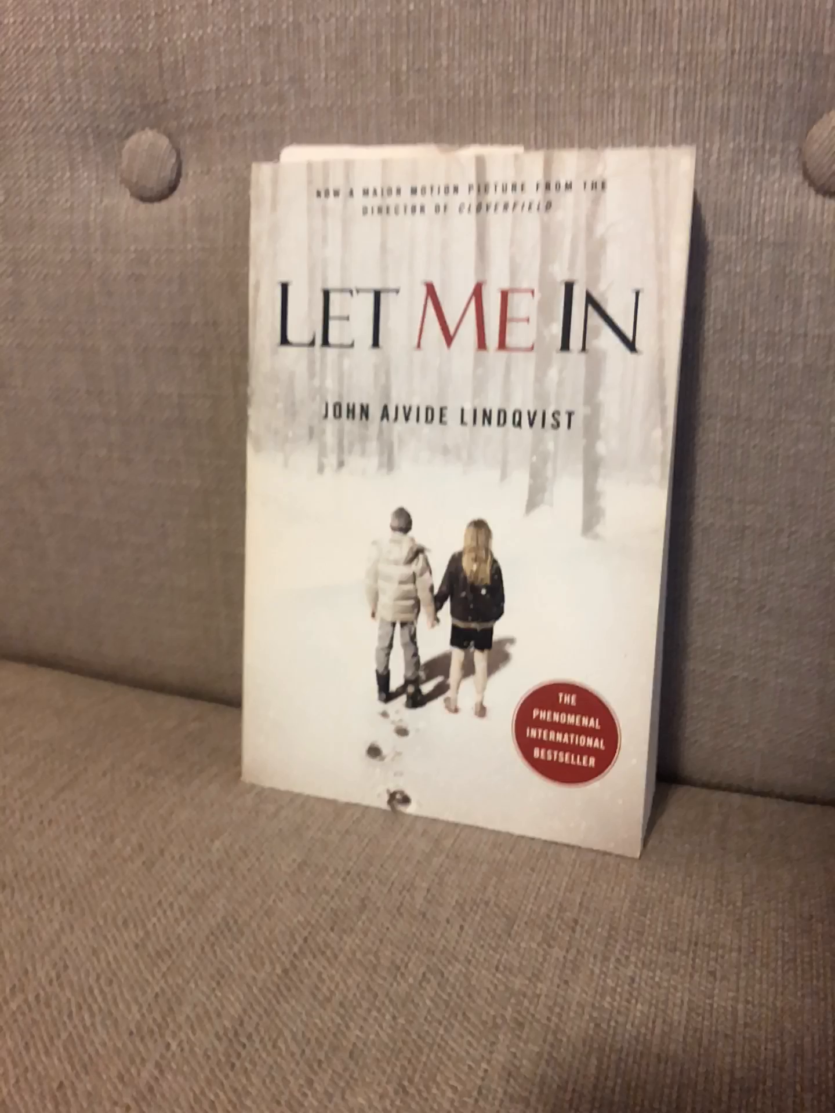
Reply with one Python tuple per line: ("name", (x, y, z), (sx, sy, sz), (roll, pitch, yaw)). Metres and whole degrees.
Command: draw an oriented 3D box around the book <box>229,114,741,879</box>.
("book", (0.018, -0.022, 0.308), (0.147, 0.216, 0.043), (6, 7, 19))
